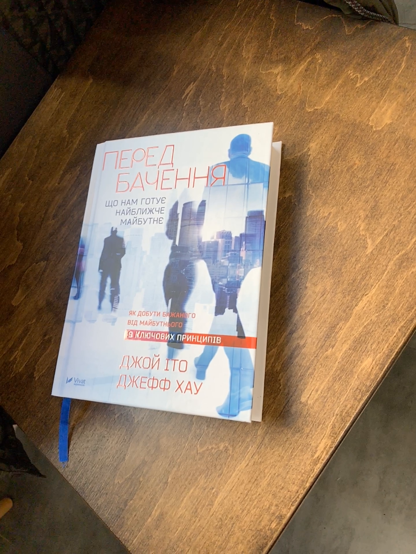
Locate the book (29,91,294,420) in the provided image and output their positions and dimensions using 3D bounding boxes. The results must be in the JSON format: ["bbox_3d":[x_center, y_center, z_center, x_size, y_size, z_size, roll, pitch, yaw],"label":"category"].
[{"bbox_3d":[-0.027,-0.018,0.289,0.149,0.040,0.196,1,75,21],"label":"book"}]
